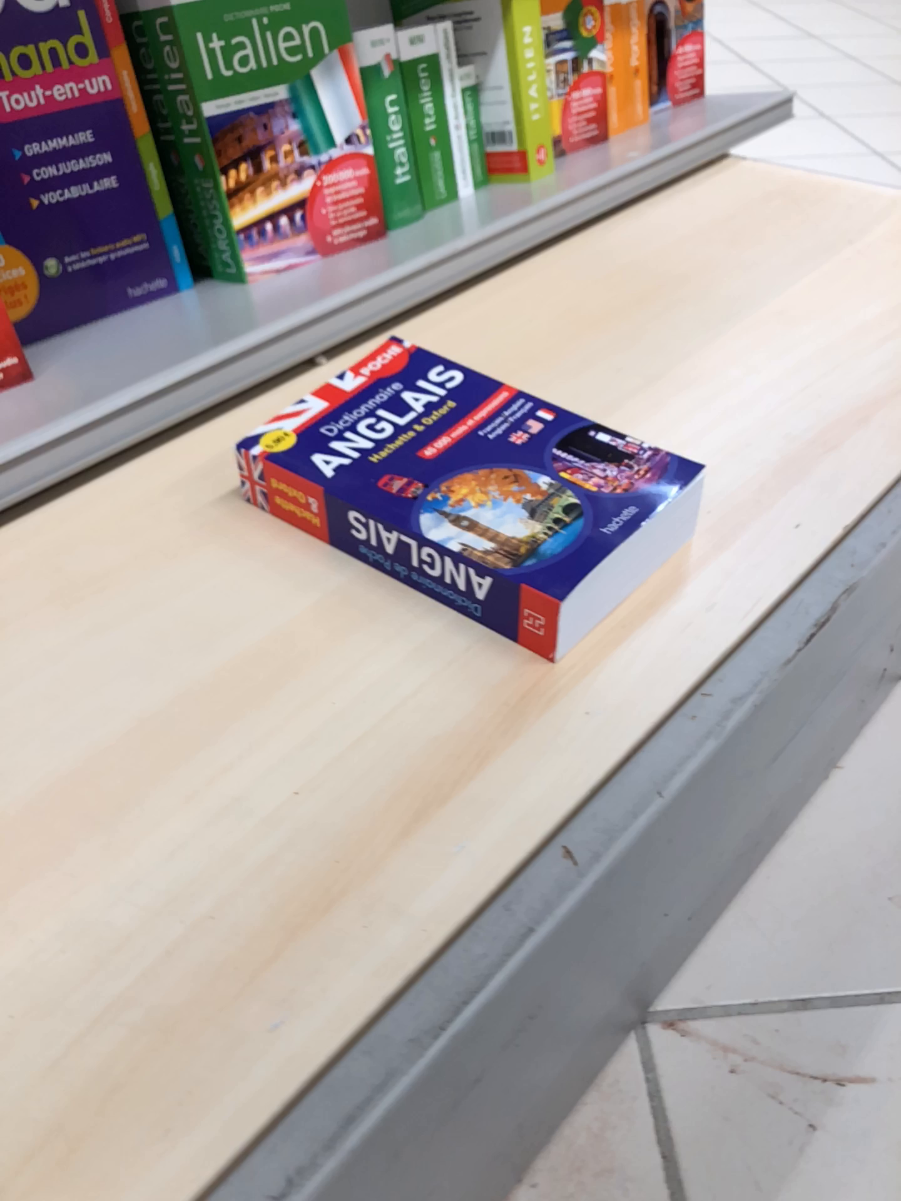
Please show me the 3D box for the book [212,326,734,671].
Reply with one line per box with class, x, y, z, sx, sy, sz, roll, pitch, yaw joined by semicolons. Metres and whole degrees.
book;0.007;-0.056;0.434;0.187;0.040;0.119;27;46;28
